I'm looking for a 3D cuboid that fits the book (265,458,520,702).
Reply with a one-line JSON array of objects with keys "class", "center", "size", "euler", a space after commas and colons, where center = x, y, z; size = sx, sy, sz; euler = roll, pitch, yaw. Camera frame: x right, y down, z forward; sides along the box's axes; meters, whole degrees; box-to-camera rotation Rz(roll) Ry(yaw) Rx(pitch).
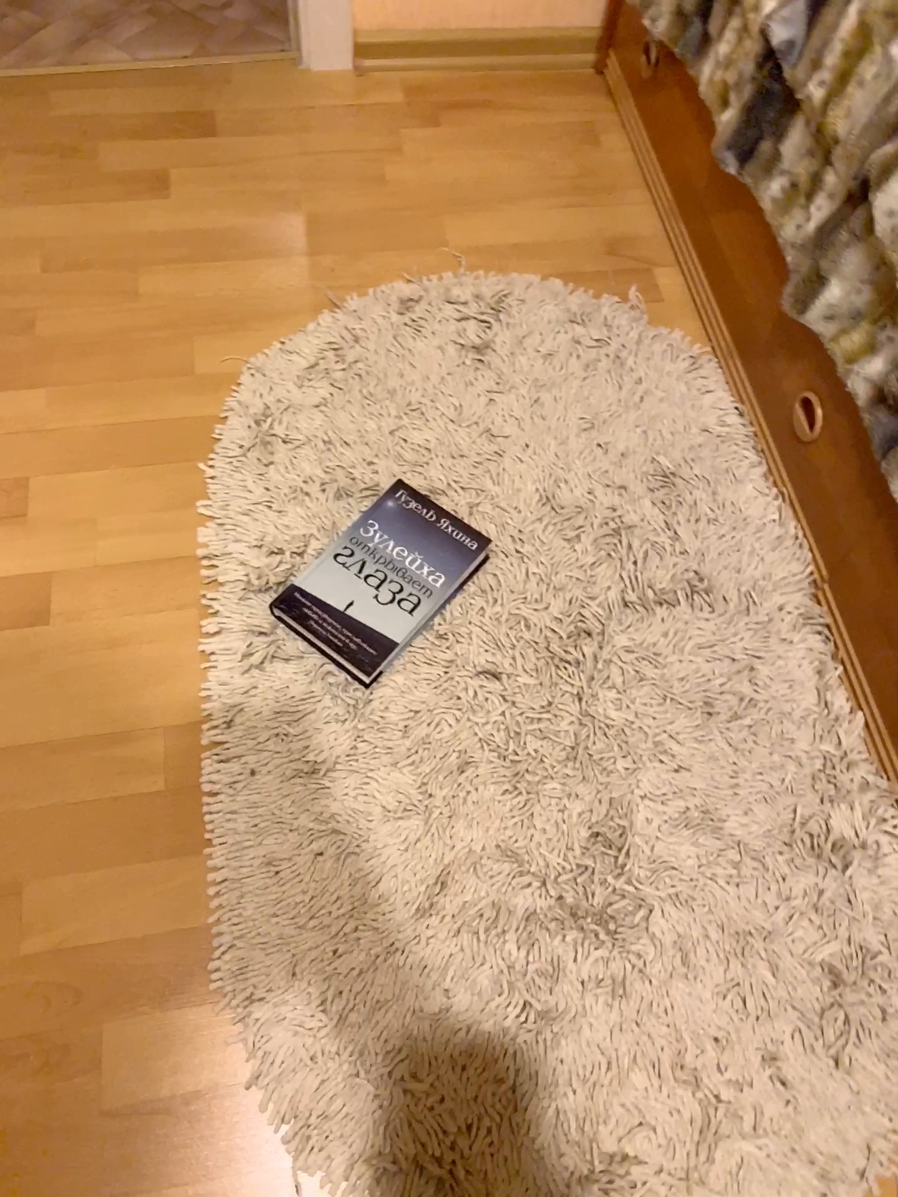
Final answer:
[{"class": "book", "center": [-0.054, -0.025, 0.939], "size": [0.150, 0.040, 0.221], "euler": [36, 65, 15]}]
